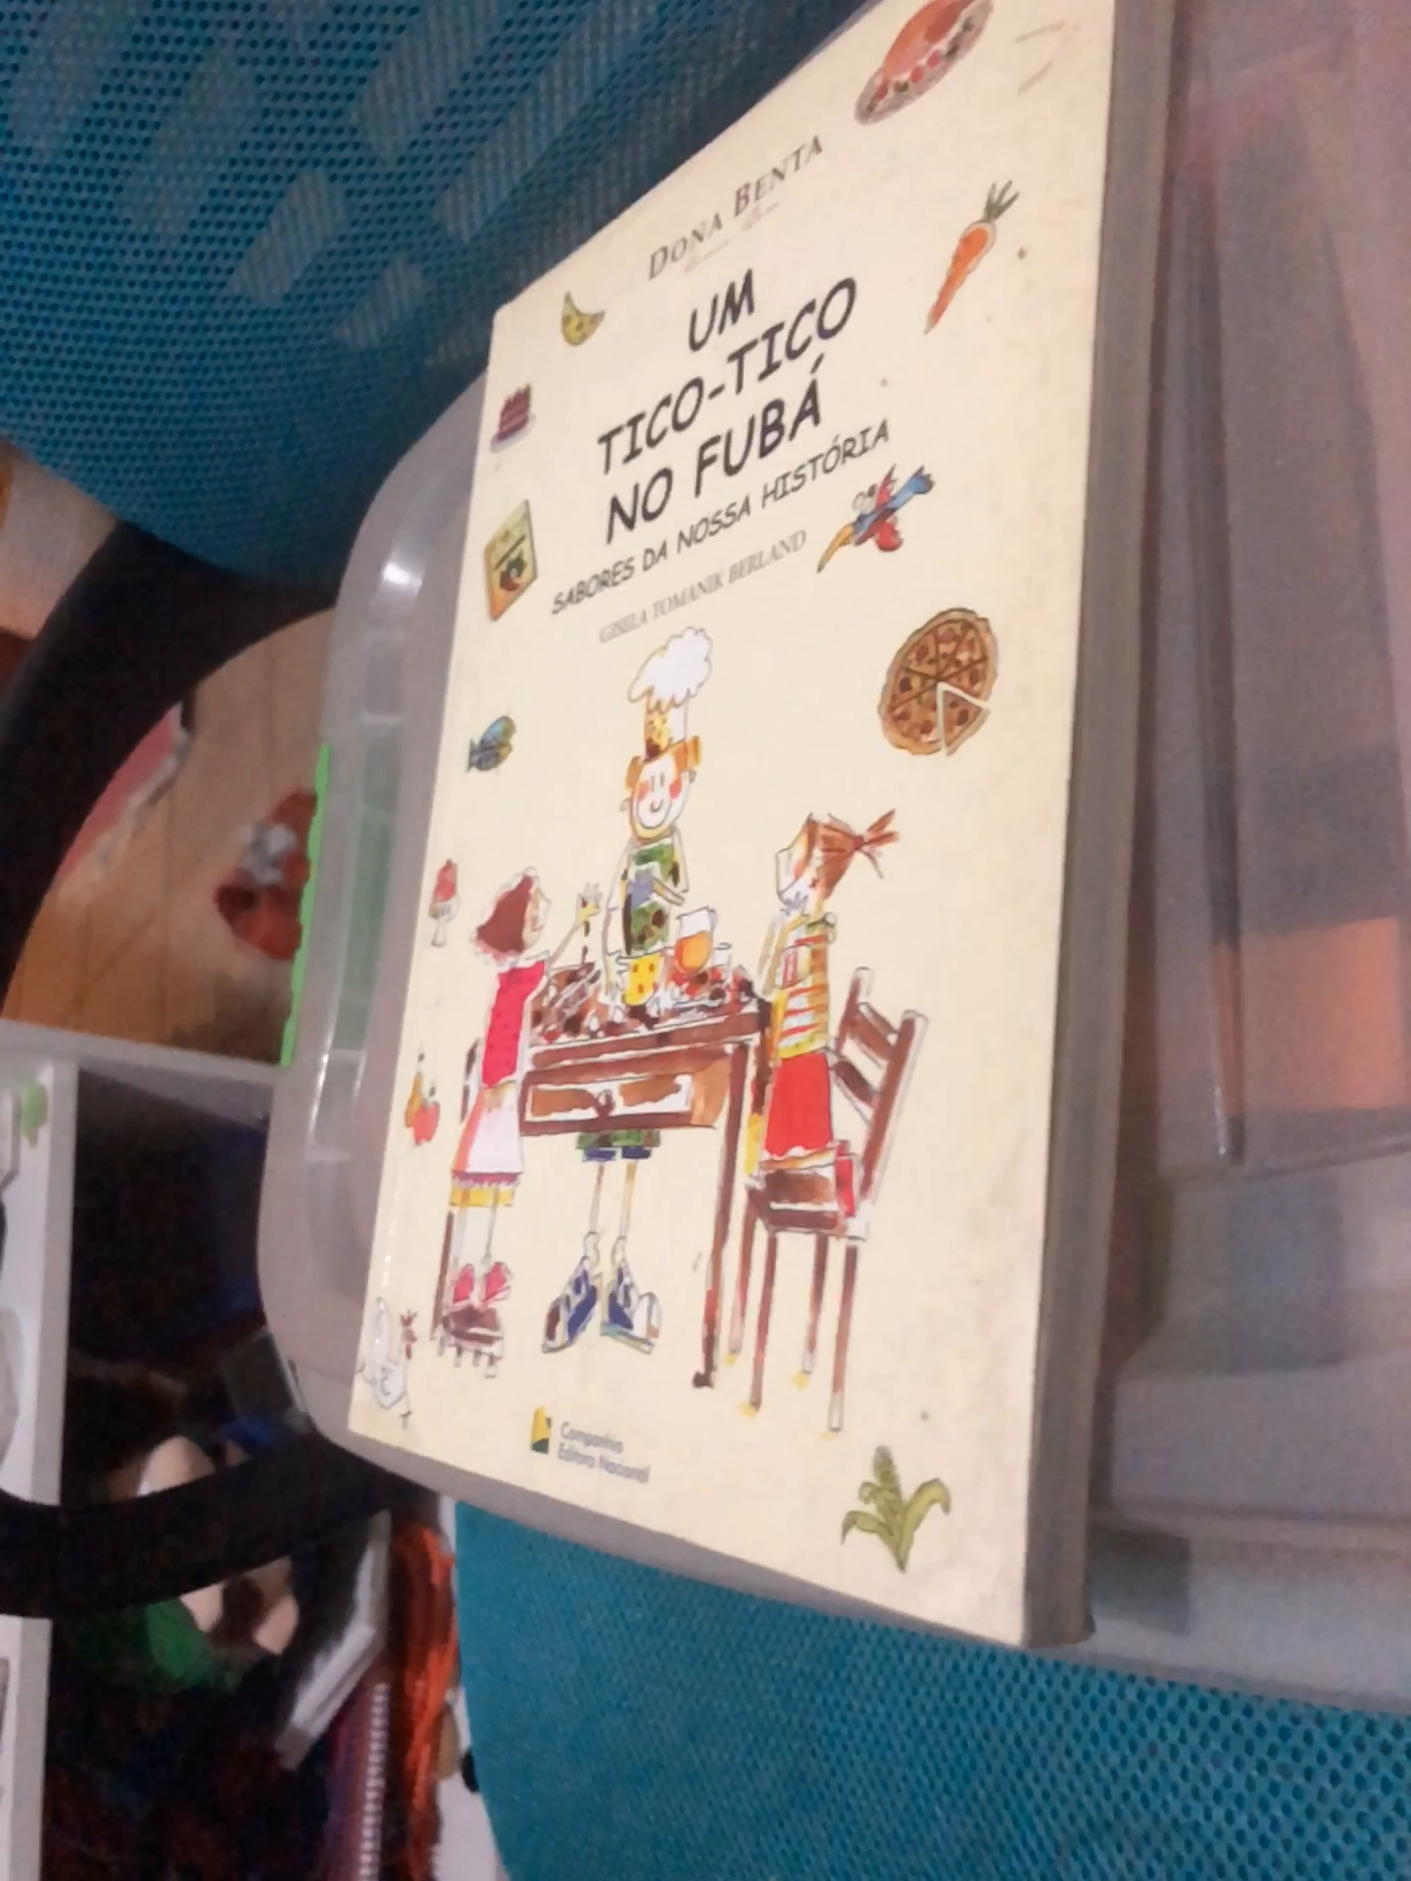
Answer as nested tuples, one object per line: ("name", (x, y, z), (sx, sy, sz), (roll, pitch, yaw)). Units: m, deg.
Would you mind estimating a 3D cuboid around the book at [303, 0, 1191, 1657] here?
("book", (-0.003, -0.029, 0.257), (0.172, 0.020, 0.232), (-10, 71, 50))
